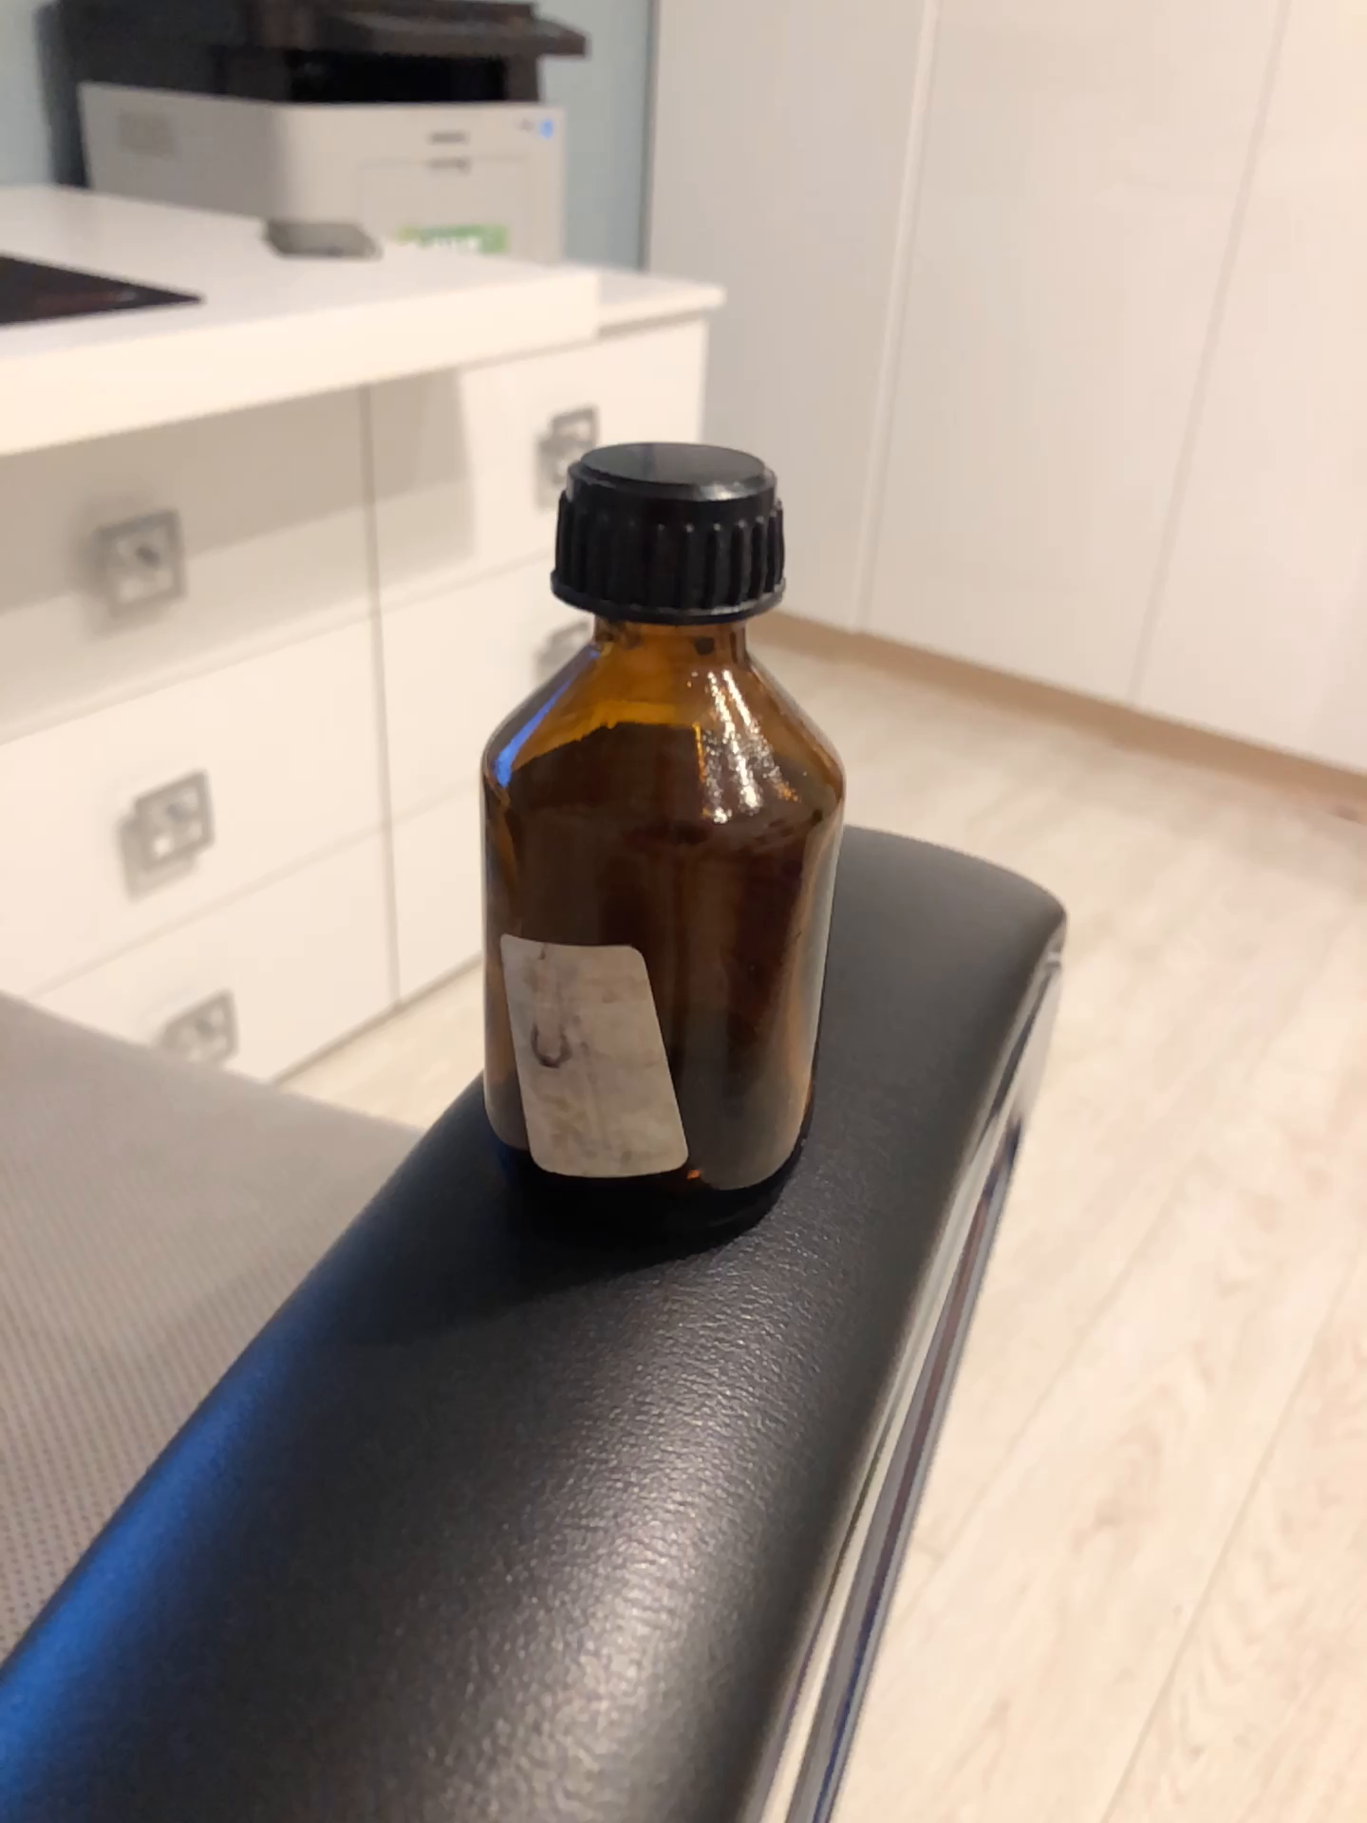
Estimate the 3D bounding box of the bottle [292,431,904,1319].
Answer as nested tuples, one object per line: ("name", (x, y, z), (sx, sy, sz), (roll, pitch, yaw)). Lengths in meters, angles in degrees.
("bottle", (-0.009, -0.006, 0.180), (0.050, 0.083, 0.050), (3, 30, -2))
